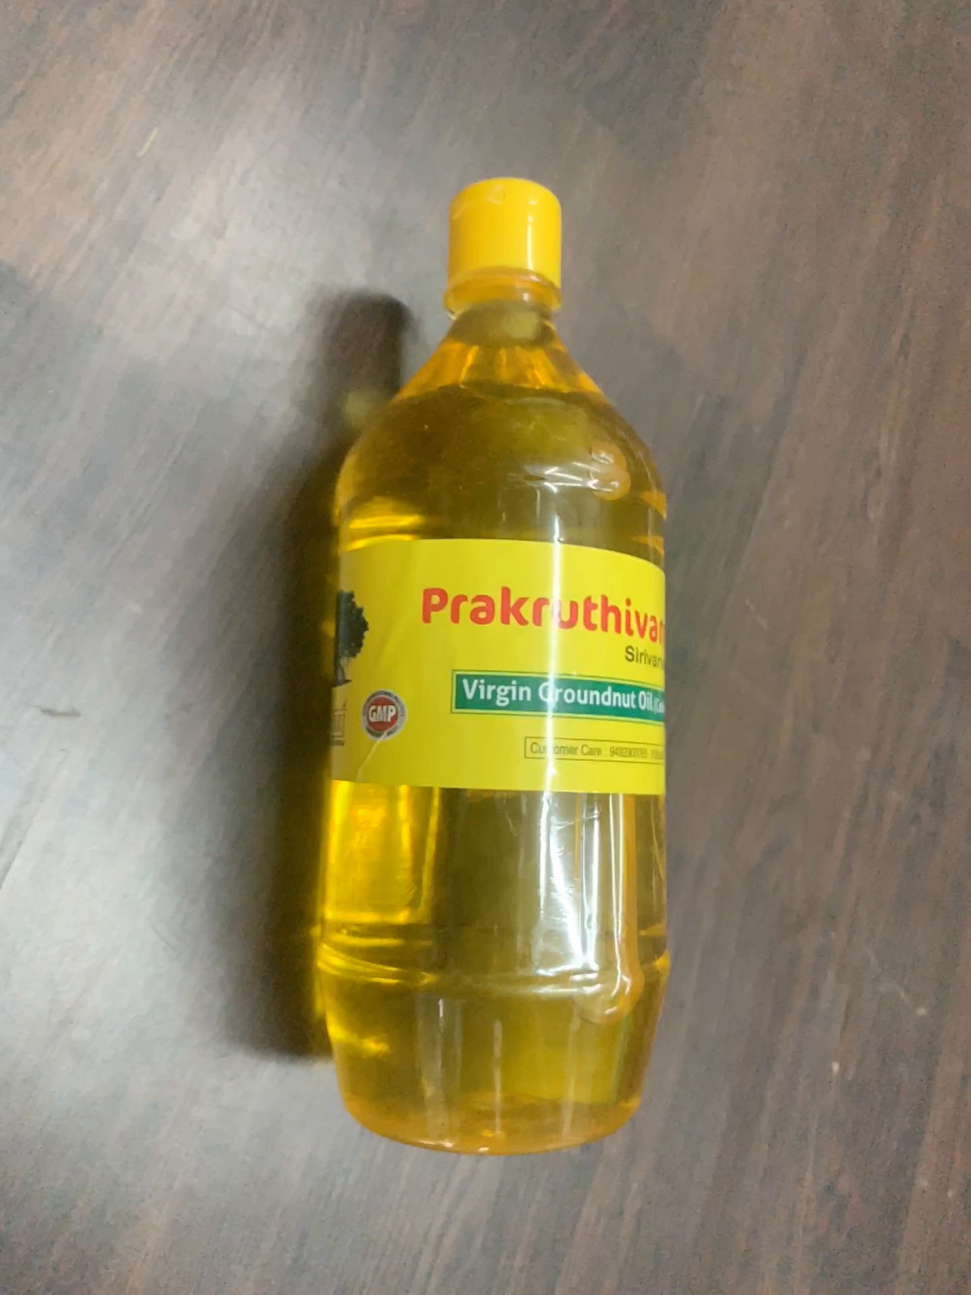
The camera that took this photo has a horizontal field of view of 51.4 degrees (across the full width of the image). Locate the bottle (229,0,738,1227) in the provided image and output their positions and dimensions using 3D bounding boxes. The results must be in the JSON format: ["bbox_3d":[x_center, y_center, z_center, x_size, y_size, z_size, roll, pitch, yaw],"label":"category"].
[{"bbox_3d":[0.002,-0.019,0.253,0.090,0.080,0.260,7,82,-41],"label":"bottle"}]
